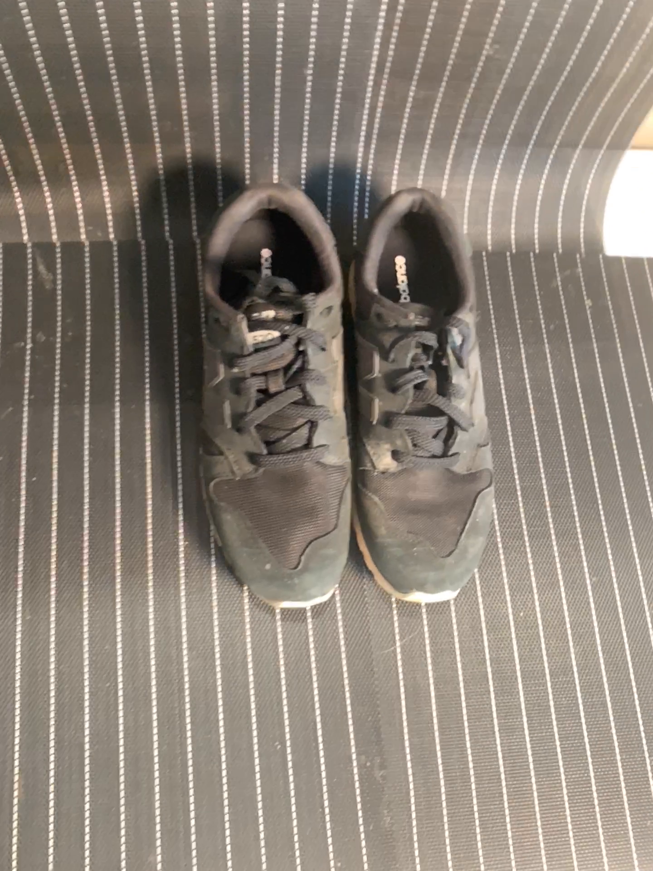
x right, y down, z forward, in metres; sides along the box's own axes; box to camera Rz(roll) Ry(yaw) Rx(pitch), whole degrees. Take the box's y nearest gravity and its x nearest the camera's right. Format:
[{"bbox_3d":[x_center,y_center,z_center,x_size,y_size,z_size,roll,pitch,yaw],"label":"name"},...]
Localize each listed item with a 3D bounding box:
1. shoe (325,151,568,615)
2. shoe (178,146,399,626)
[{"bbox_3d":[0.068,-0.037,0.463,0.110,0.090,0.300,-1,73,-8],"label":"shoe"},{"bbox_3d":[-0.034,-0.035,0.448,0.110,0.090,0.300,-3,74,-9],"label":"shoe"}]
